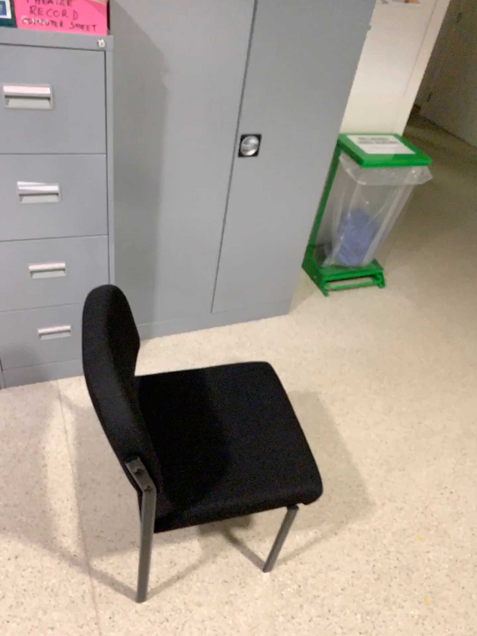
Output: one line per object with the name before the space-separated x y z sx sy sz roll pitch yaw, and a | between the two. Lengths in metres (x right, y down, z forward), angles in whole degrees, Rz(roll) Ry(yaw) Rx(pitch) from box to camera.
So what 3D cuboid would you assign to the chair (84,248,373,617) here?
chair | -0.128 0.324 1.464 0.580 0.832 0.636 -3 42 -17
